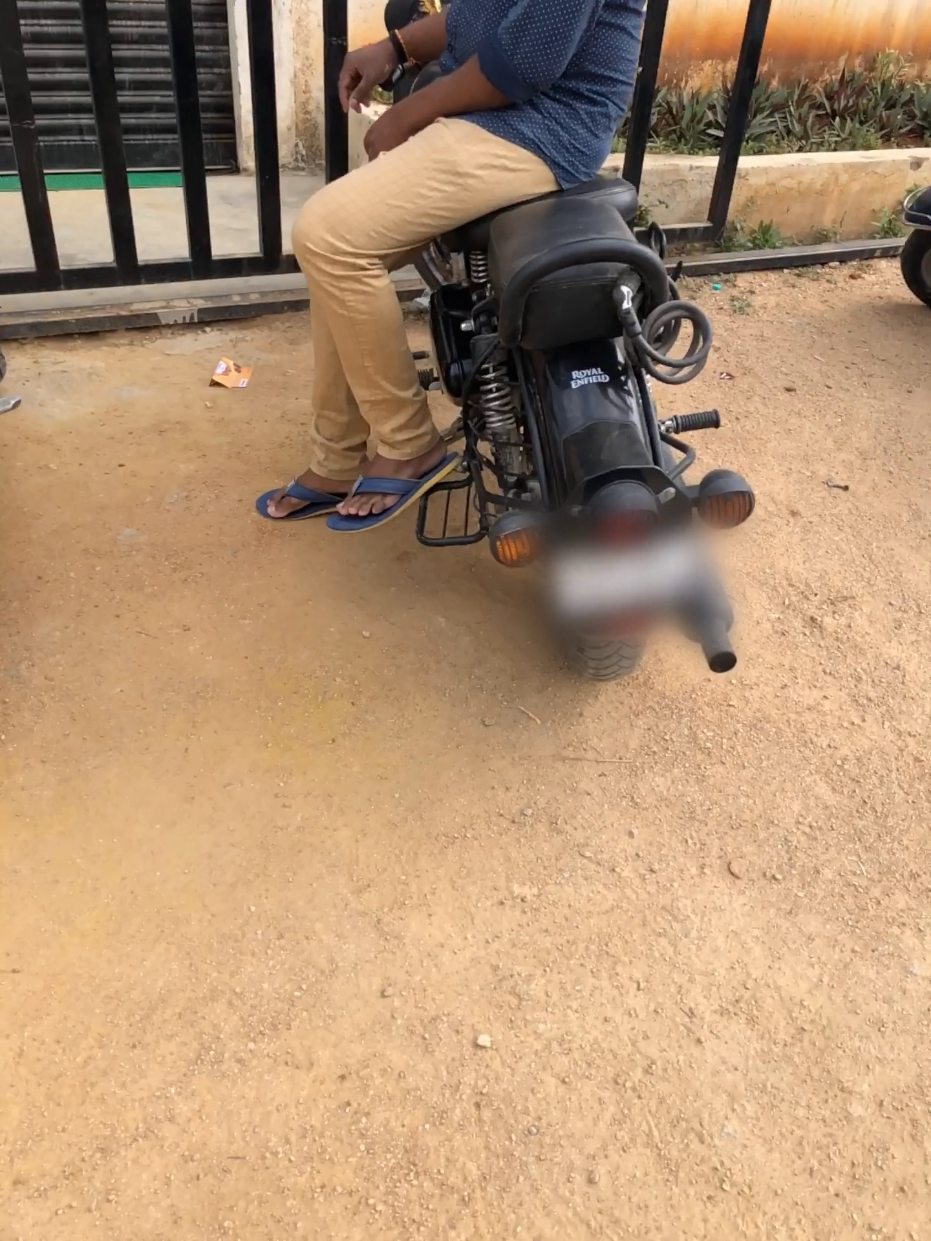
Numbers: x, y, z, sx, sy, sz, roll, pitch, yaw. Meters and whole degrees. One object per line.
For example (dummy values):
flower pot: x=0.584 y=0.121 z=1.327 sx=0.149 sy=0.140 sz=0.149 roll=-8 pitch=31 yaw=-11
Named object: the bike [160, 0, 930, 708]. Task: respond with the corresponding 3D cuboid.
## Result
bike: x=-0.092 y=-0.965 z=2.047 sx=0.724 sy=1.169 sz=1.814 roll=-7 pitch=43 yaw=-15
